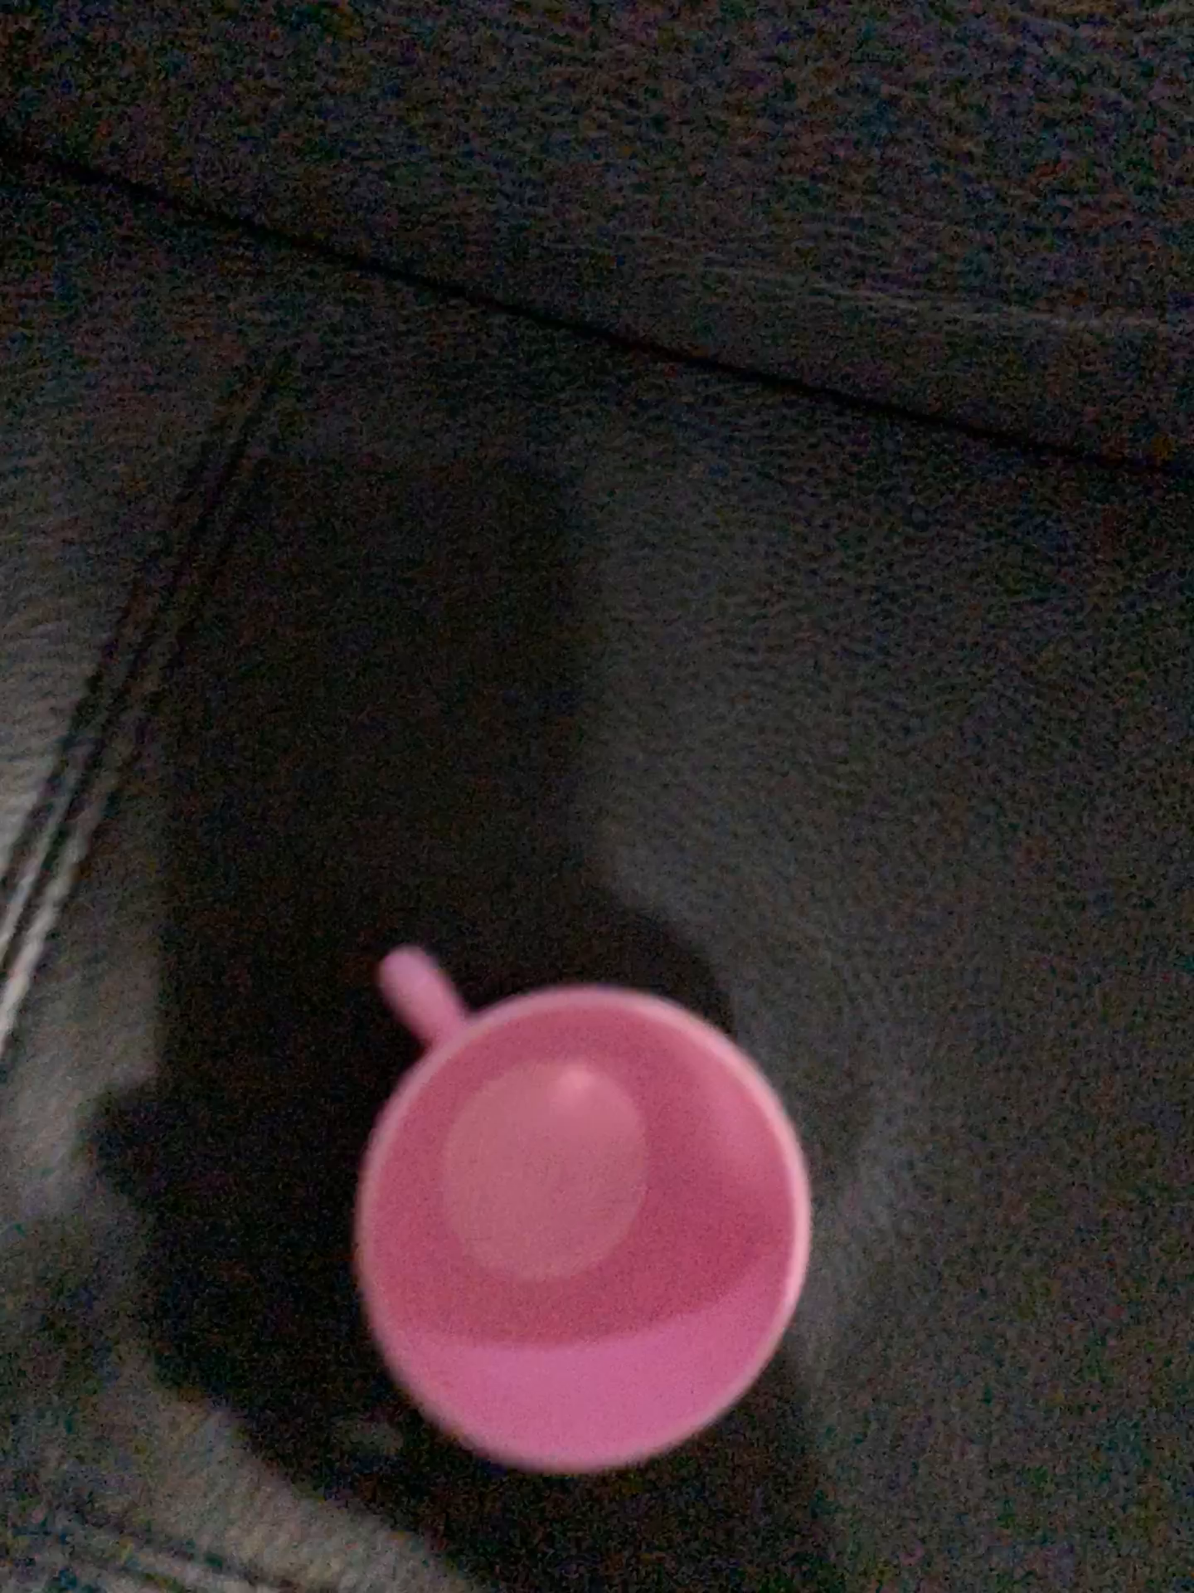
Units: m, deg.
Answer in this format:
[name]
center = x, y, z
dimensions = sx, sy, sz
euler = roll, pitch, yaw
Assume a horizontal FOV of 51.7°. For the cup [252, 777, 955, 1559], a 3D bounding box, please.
[cup]
center = -0.001, 0.049, 0.183
dimensions = 0.060, 0.045, 0.077
euler = -31, 85, -13
